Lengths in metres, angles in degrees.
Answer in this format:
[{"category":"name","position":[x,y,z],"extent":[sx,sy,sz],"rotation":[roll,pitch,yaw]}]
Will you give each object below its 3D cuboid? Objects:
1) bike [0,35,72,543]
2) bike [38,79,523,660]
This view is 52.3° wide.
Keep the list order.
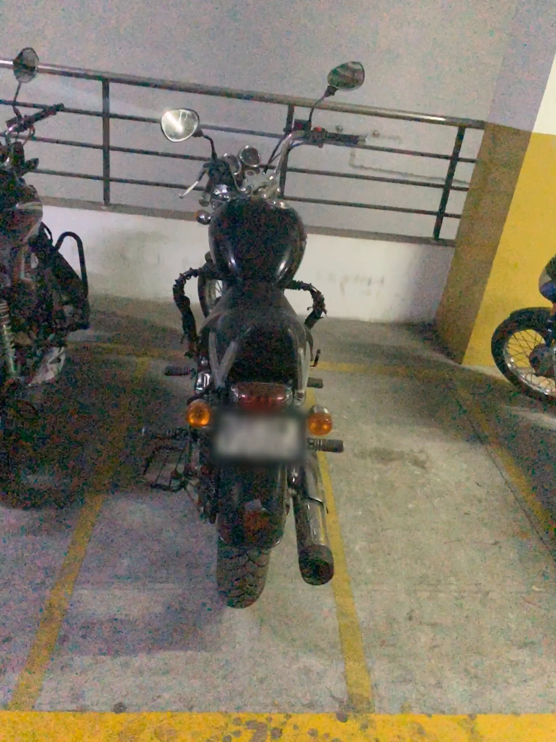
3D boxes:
[{"category":"bike","position":[-1.349,-0.481,2.272],"extent":[0.719,1.276,1.572],"rotation":[3,32,-9]},{"category":"bike","position":[-0.216,-0.225,2.027],"extent":[0.851,1.231,1.807],"rotation":[2,30,-12]}]
